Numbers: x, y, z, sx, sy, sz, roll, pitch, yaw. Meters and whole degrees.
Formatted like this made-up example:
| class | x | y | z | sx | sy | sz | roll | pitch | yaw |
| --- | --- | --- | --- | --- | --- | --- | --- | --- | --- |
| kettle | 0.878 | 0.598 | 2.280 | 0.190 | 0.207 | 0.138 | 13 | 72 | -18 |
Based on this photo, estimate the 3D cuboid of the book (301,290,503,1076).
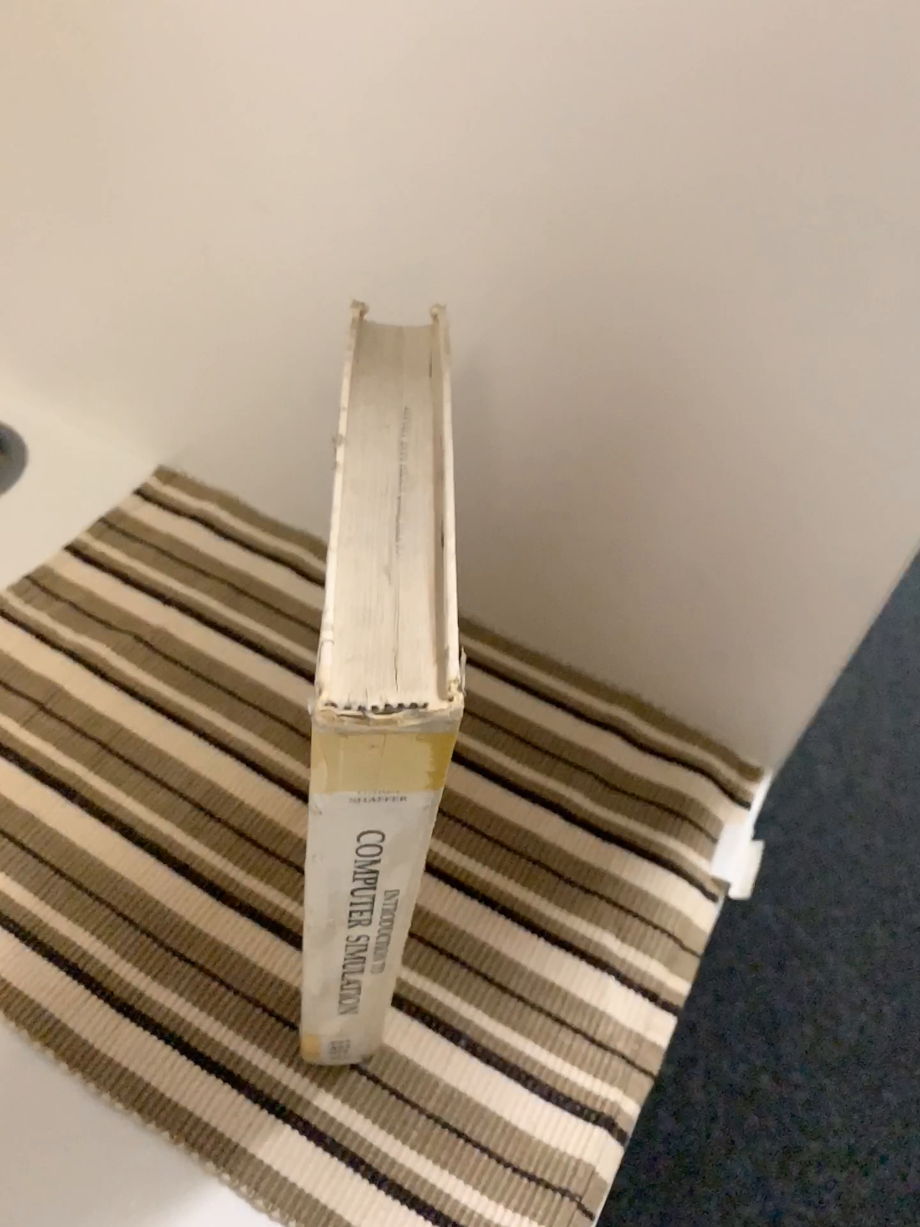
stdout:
| class | x | y | z | sx | sy | sz | roll | pitch | yaw |
| --- | --- | --- | --- | --- | --- | --- | --- | --- | --- |
| book | -0.033 | 0.038 | 0.347 | 0.040 | 0.238 | 0.172 | 2 | 48 | -9 |
